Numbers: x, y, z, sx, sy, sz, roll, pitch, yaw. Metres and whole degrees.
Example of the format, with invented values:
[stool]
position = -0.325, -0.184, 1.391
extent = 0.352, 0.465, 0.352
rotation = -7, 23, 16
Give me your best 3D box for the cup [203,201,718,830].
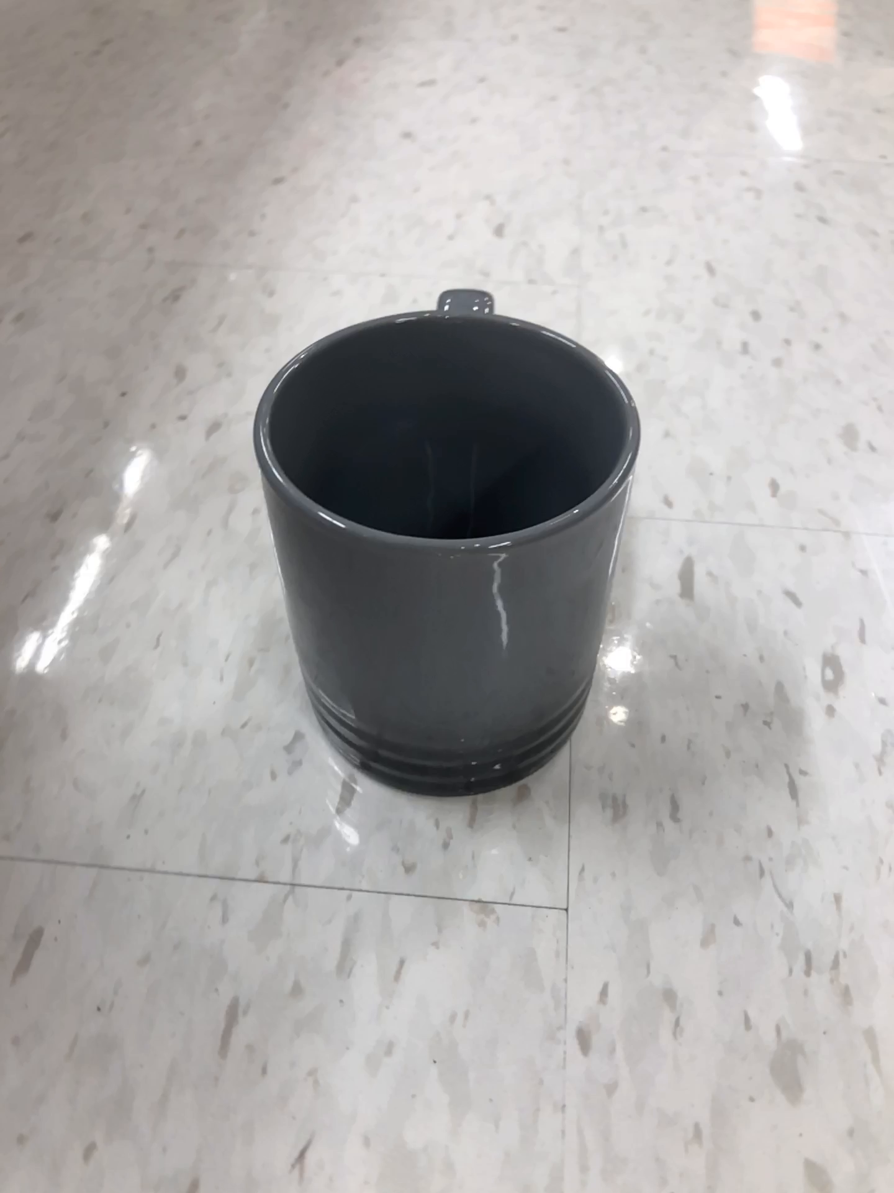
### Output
[cup]
position = 0.006, -0.028, 0.276
extent = 0.100, 0.089, 0.151
rotation = 3, 48, 2
